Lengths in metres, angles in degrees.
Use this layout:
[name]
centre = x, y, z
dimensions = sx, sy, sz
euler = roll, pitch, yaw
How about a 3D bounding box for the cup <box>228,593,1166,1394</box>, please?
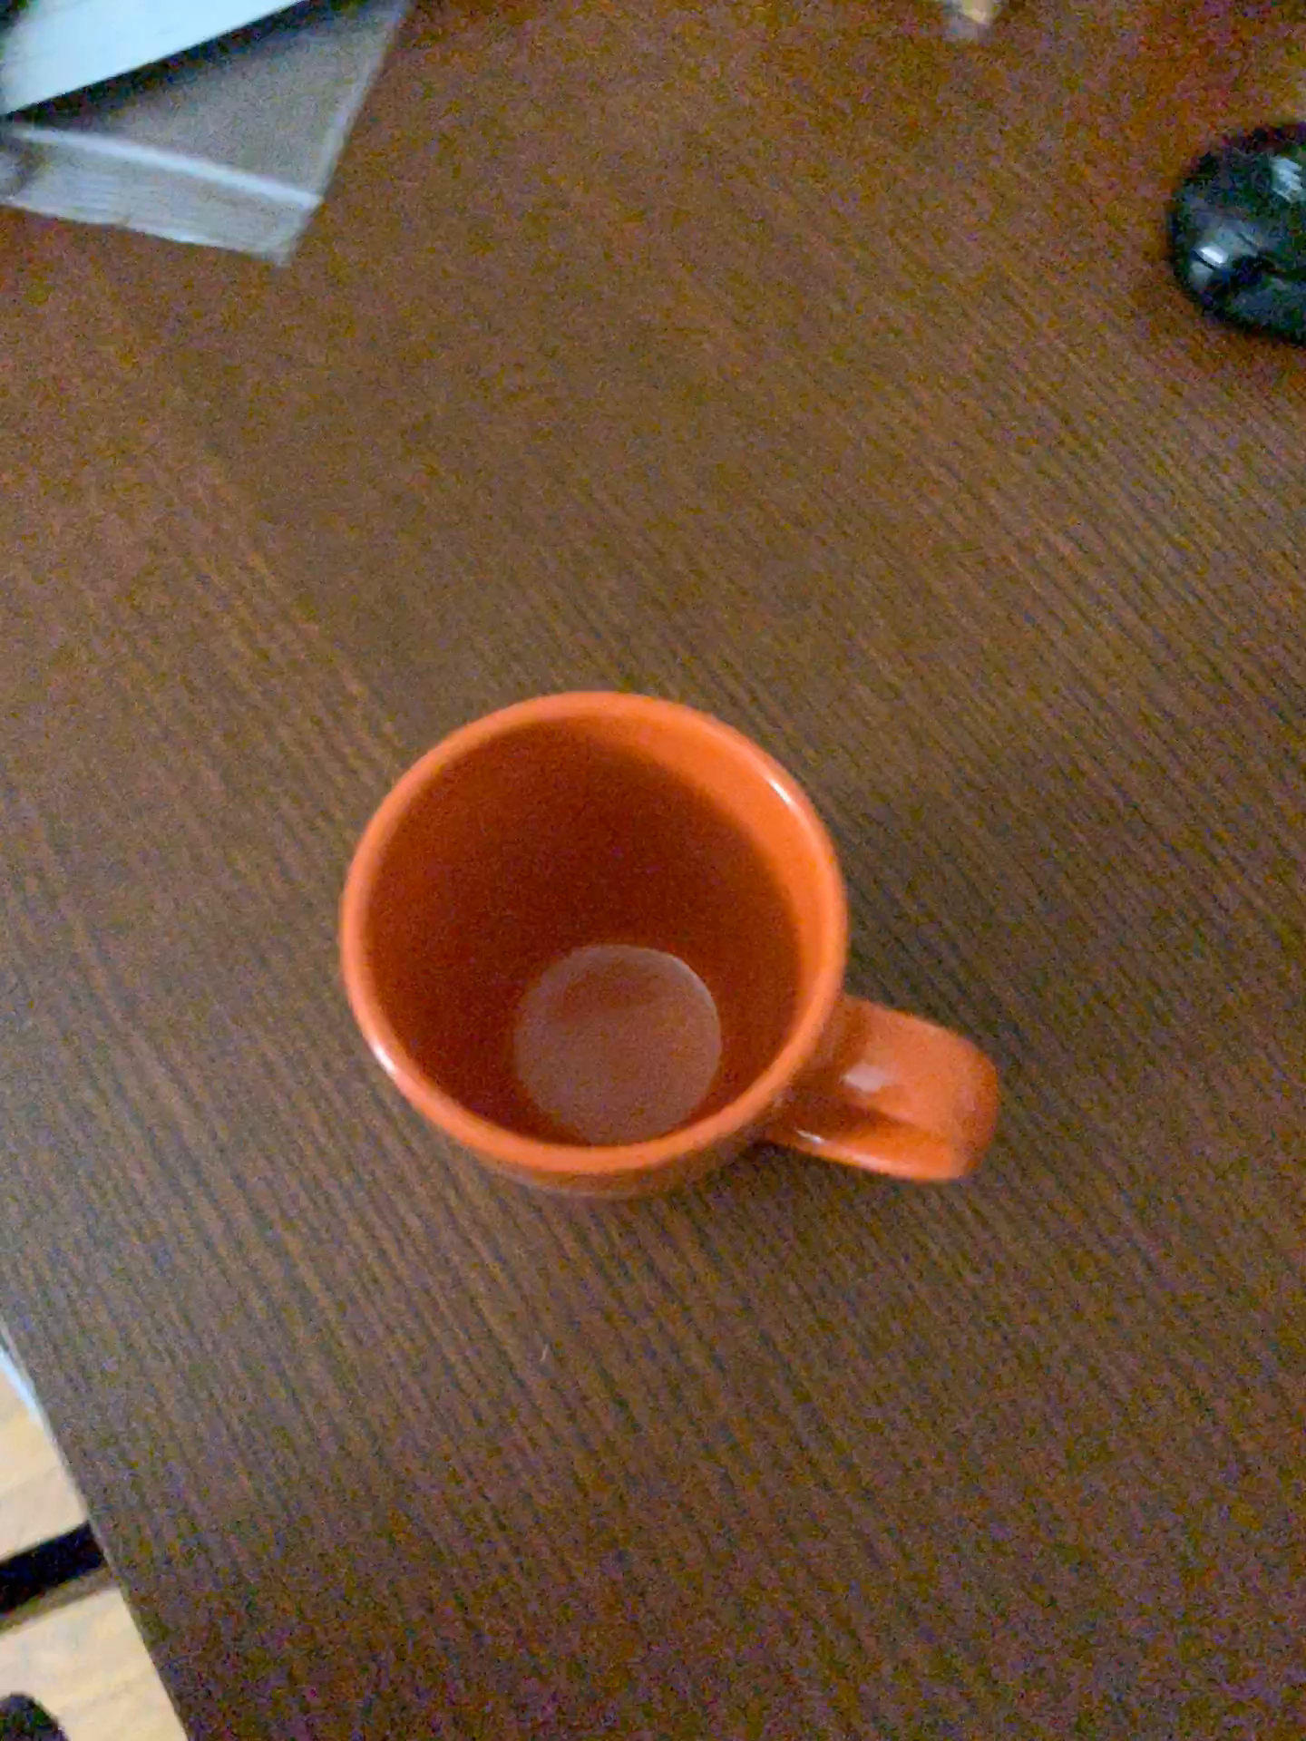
[cup]
centre = 0.011, 0.032, 0.272
dimensions = 0.130, 0.110, 0.100
euler = 17, 71, 7
